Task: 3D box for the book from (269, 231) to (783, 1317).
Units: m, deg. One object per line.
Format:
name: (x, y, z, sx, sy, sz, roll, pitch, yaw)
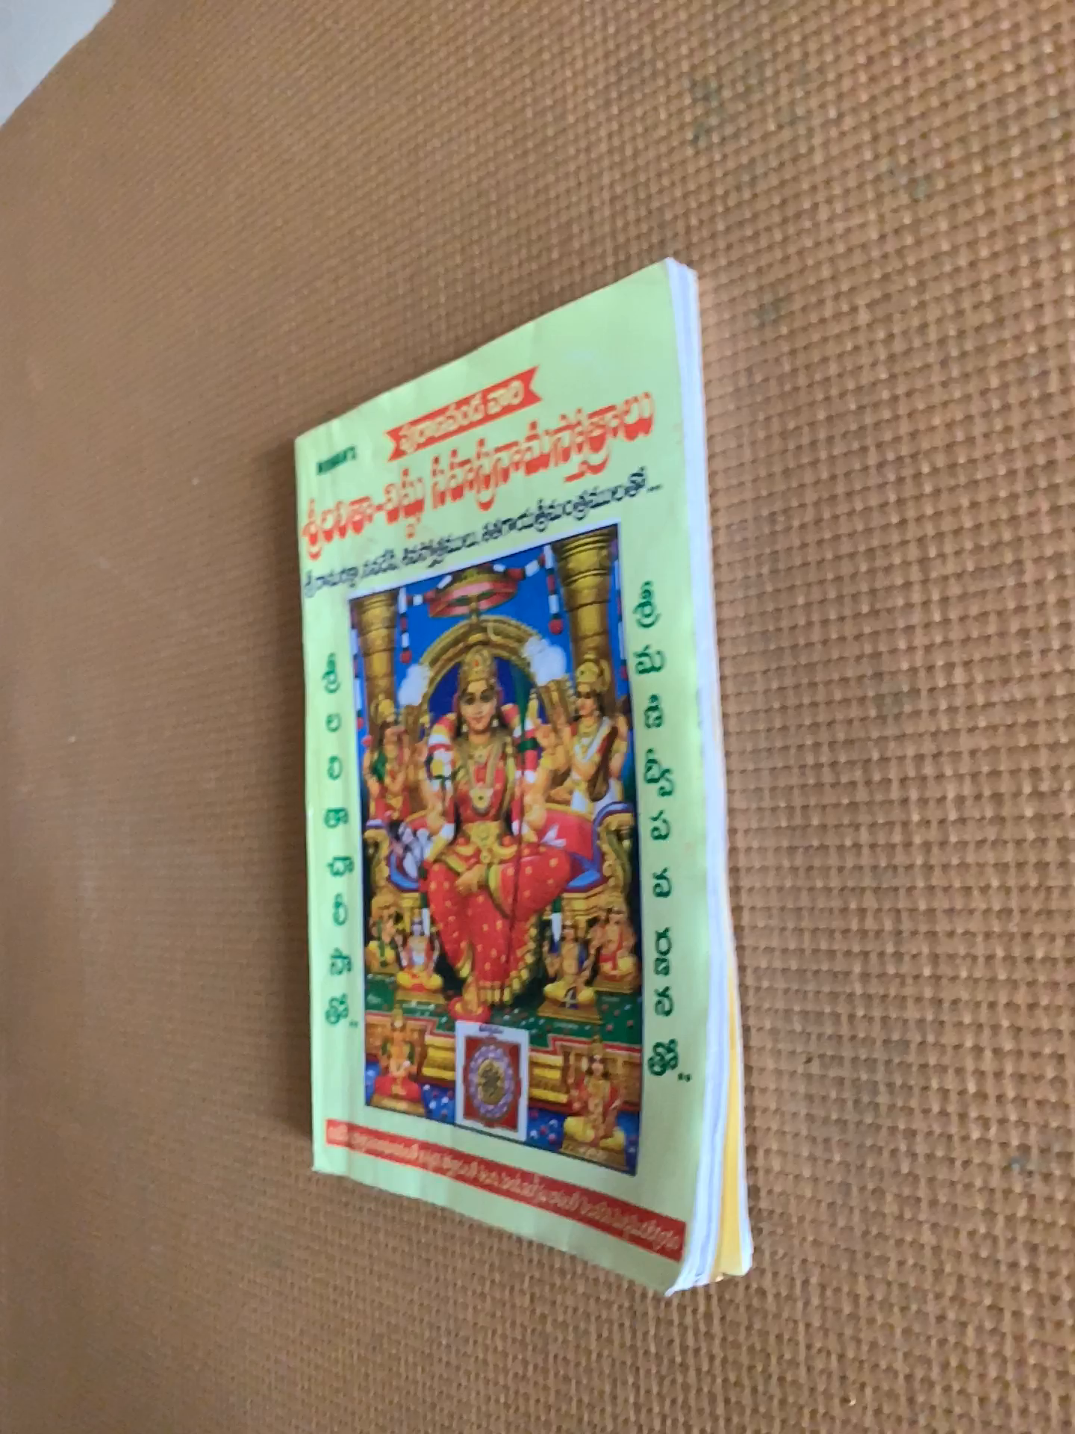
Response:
book: (-0.015, 0.013, 0.272, 0.141, 0.020, 0.210, -8, 82, 43)
